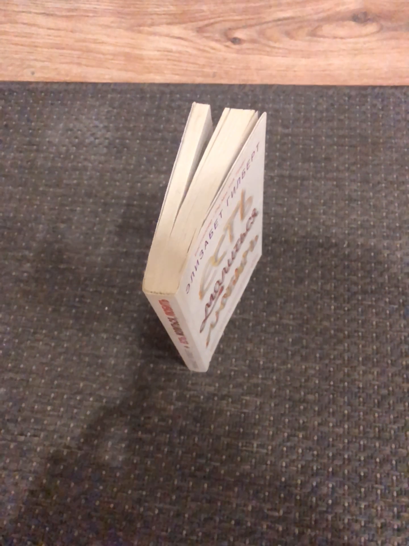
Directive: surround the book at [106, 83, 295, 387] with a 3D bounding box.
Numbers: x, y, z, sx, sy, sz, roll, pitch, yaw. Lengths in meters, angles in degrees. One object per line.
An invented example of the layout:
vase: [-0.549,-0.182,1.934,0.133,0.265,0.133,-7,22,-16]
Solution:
book: [0.008,-0.012,0.385,0.068,0.214,0.161,17,68,10]
